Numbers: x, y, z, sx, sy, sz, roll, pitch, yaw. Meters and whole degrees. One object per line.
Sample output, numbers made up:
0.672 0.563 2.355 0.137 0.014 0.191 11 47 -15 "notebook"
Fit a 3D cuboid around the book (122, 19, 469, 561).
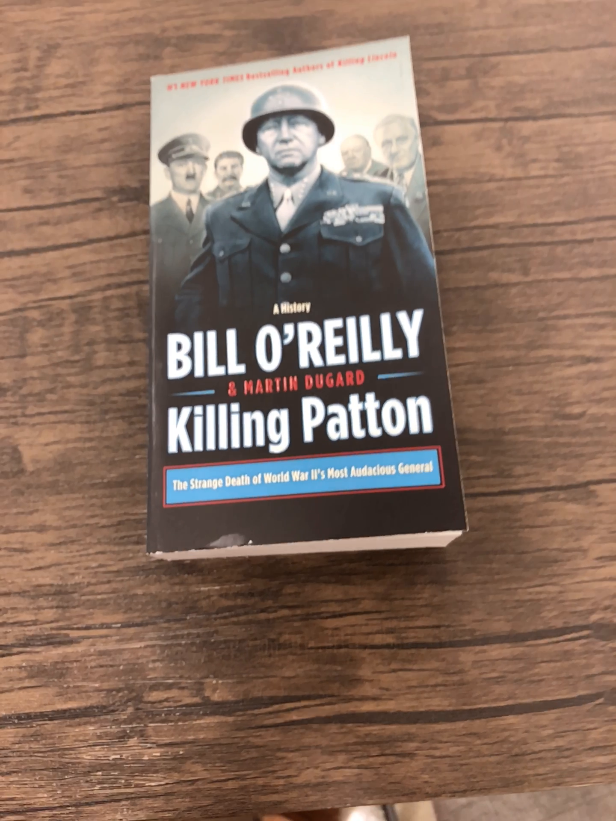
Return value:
-0.008 -0.043 0.250 0.105 0.040 0.182 -5 75 7 "book"
